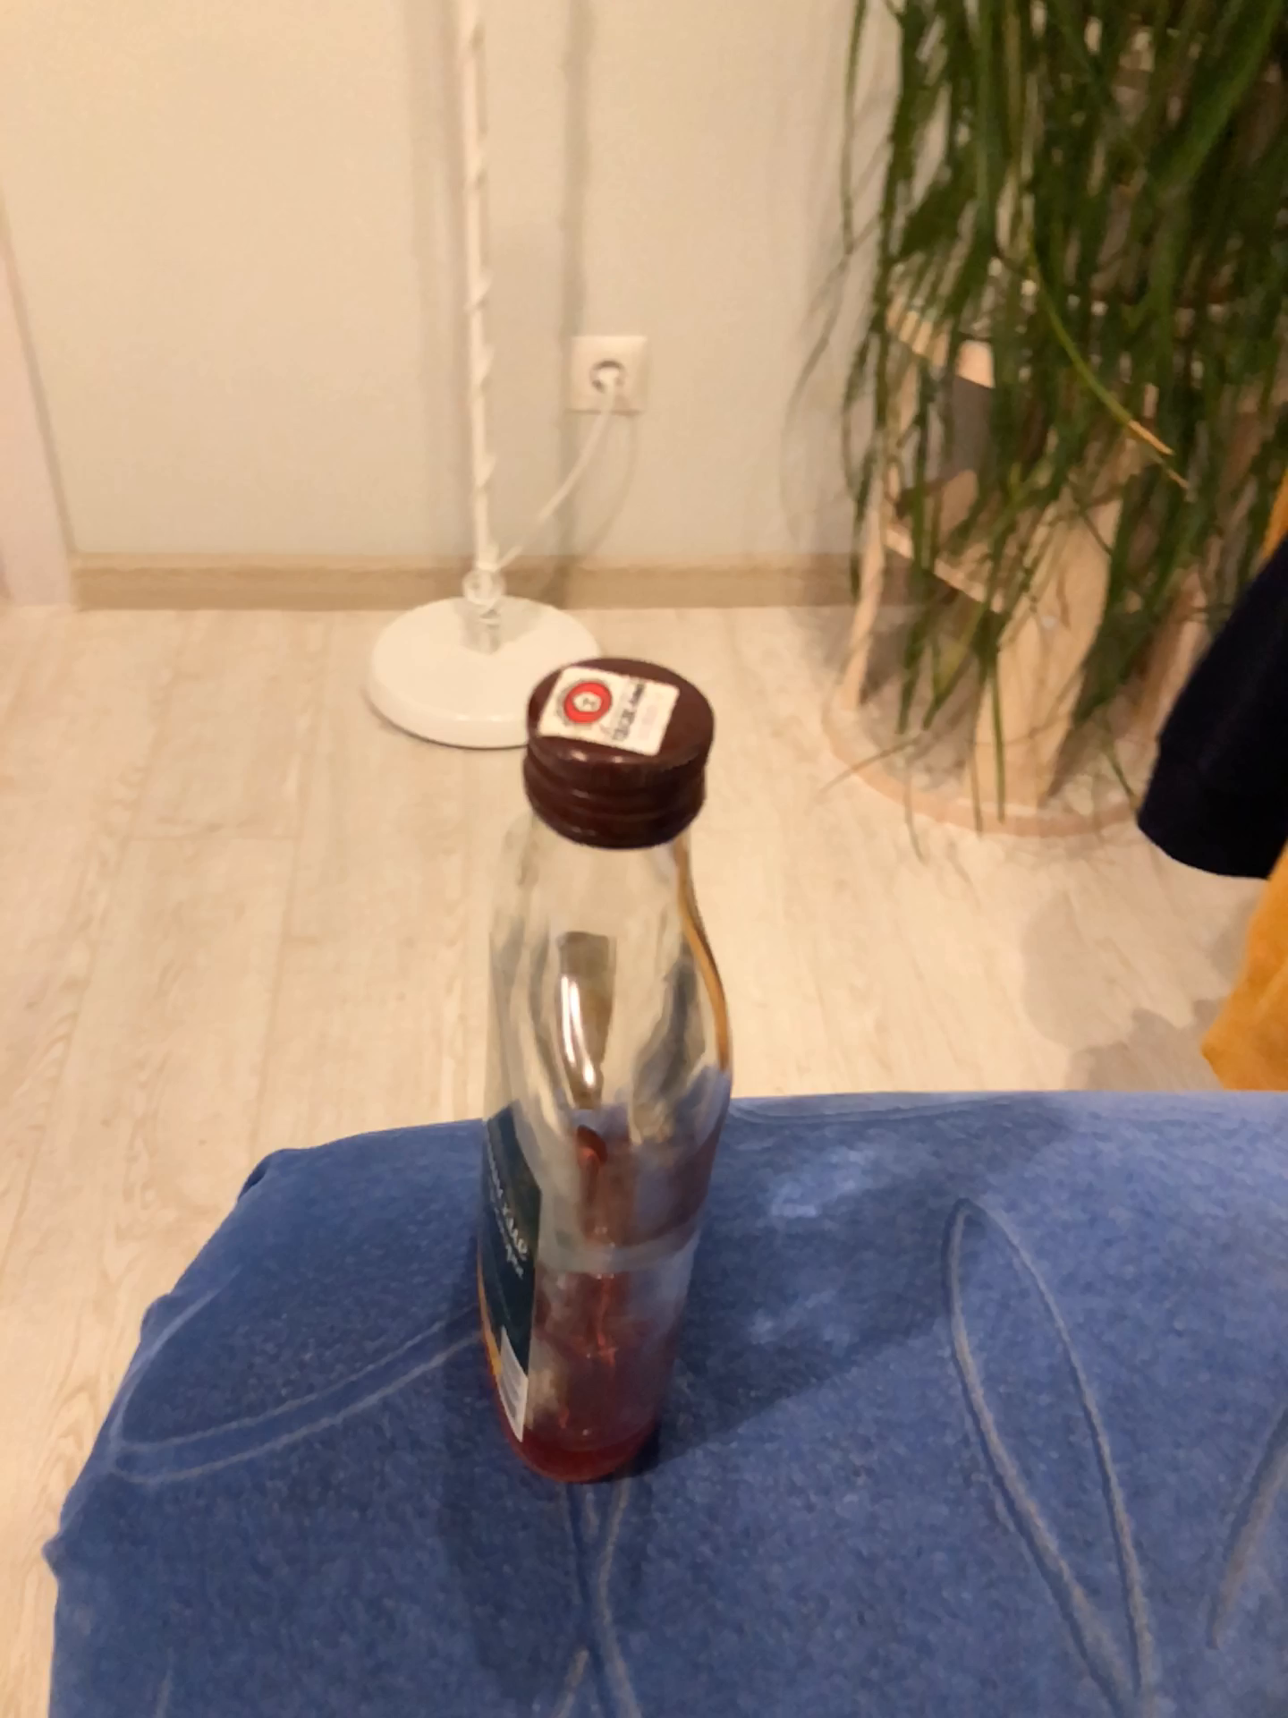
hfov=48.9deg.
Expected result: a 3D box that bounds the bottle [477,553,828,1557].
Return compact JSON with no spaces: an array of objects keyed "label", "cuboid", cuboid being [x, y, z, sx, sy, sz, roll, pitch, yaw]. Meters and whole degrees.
[{"label":"bottle","cuboid":[-0.009,0.044,0.271,0.040,0.179,0.091,-2,40,-9]}]
